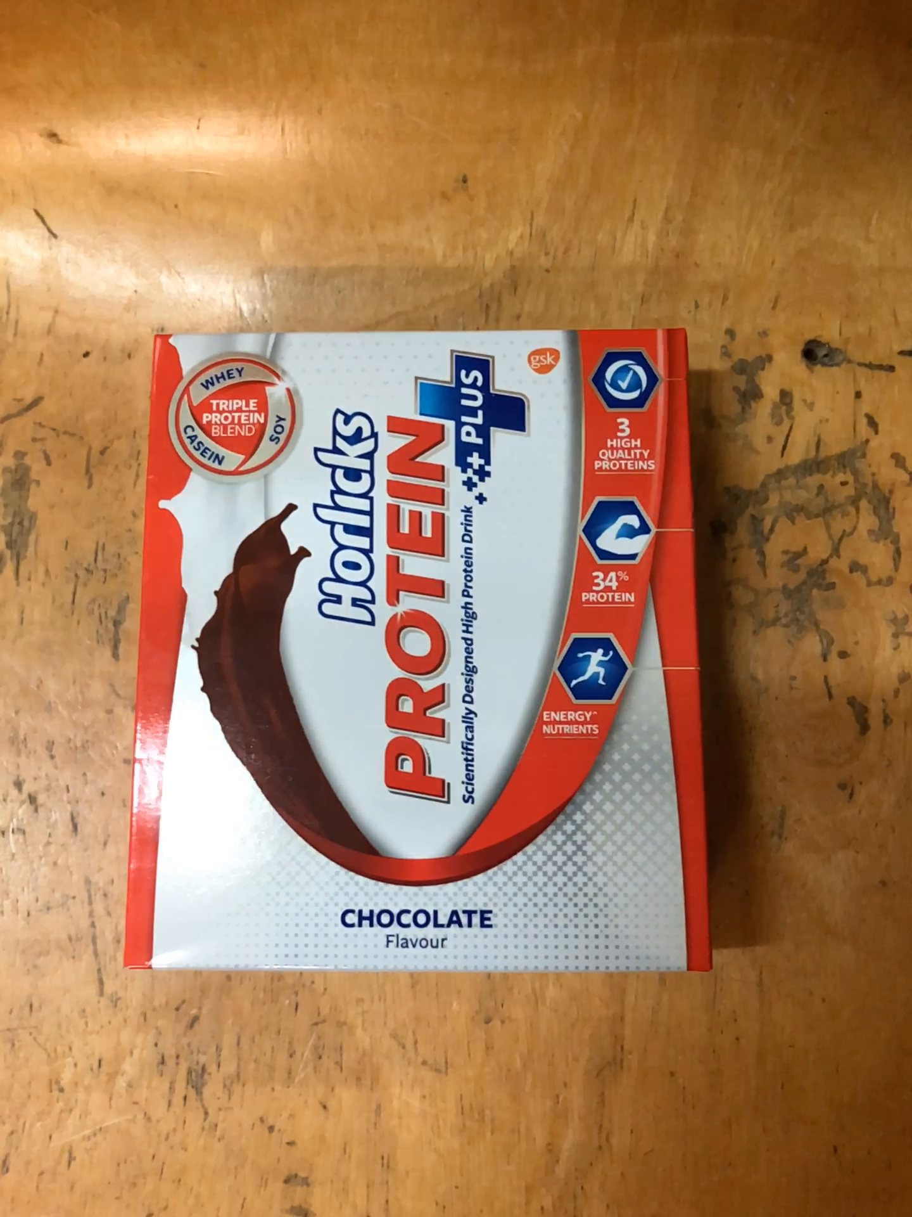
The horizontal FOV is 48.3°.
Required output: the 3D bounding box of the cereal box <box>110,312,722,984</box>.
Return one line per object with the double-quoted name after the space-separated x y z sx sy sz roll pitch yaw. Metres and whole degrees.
-0.009 0.009 0.268 0.140 0.050 0.160 0 83 -1 "cereal box"
